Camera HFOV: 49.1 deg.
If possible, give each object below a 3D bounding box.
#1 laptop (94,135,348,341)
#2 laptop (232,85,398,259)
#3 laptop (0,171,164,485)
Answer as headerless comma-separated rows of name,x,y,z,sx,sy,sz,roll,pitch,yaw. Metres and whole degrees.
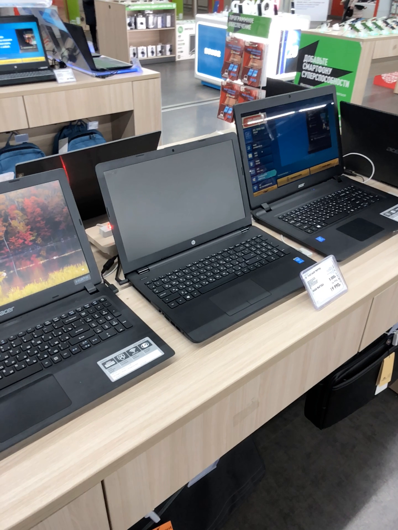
laptop,0.041,-0.092,0.939,0.378,0.215,0.334,-24,42,-32
laptop,0.368,-0.285,1.180,0.397,0.267,0.396,-23,40,-30
laptop,-0.295,0.045,0.717,0.360,0.226,0.351,-23,40,-33
